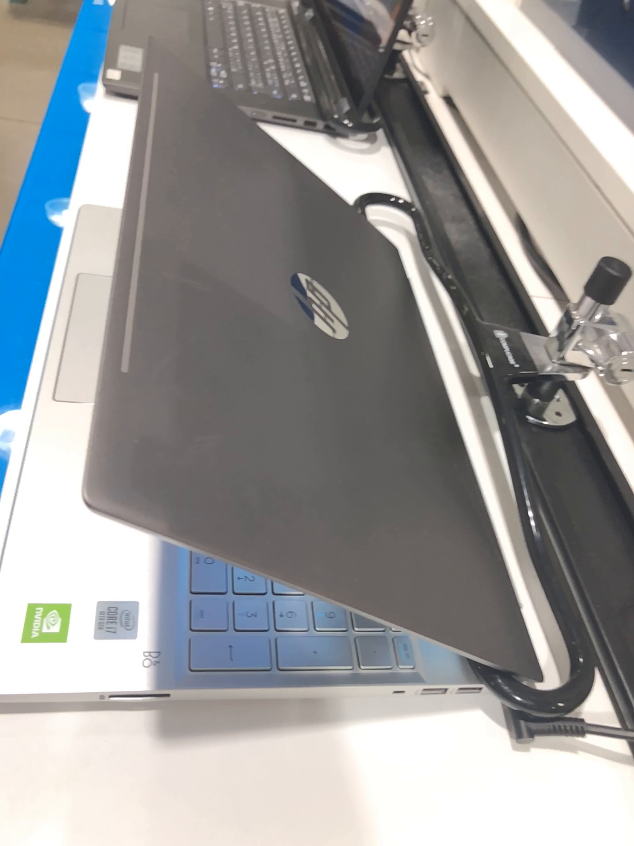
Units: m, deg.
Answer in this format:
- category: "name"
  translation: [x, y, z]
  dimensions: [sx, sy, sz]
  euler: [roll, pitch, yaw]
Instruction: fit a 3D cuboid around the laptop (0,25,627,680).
- category: "laptop"
  translation: [-0.032, -0.063, 0.372]
  dimensions: [0.215, 0.124, 0.349]
  euler: [4, 46, -13]
